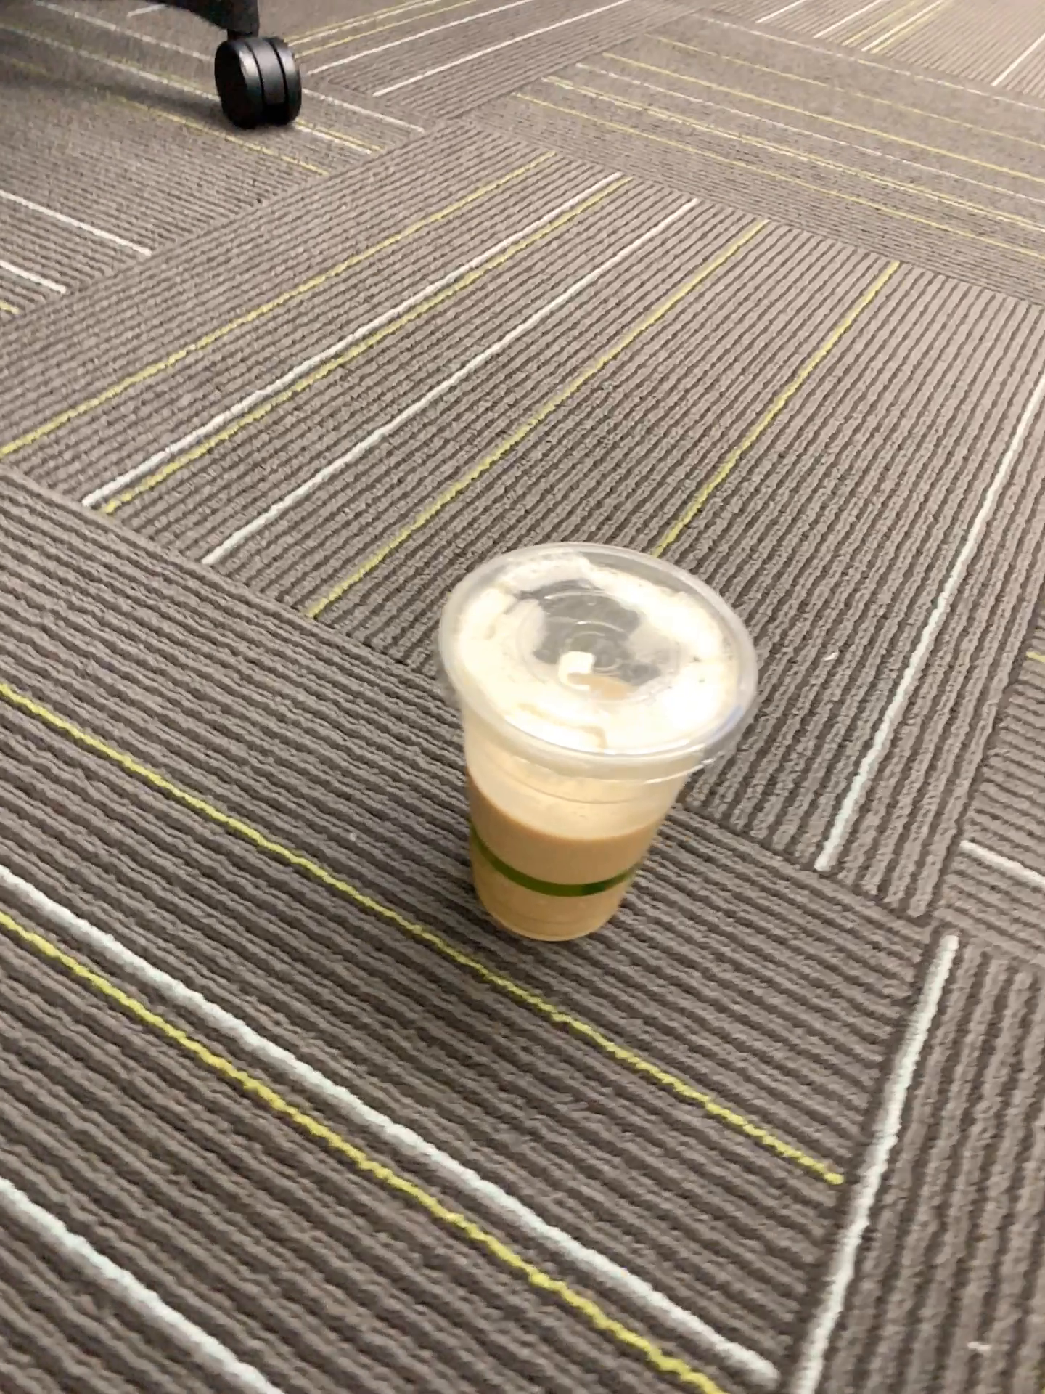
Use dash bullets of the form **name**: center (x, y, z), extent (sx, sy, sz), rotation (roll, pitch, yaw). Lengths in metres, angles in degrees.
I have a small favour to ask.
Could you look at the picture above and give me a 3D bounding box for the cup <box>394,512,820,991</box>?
- **cup**: center (0.016, 0.016, 0.352), extent (0.100, 0.109, 0.101), rotation (4, 45, -4)
